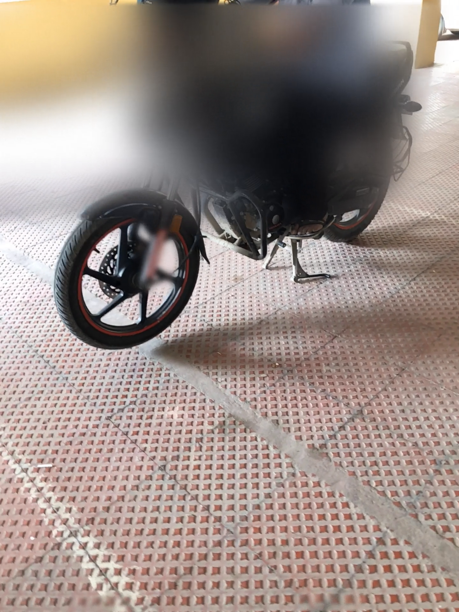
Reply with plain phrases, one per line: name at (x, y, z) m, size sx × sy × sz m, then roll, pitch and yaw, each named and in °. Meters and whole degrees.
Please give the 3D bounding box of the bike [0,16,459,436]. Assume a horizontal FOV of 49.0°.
bike at (0.114, -0.536, 2.132) m, size 1.892 × 1.009 × 0.786 m, roll -29°, pitch 40°, yaw -32°
